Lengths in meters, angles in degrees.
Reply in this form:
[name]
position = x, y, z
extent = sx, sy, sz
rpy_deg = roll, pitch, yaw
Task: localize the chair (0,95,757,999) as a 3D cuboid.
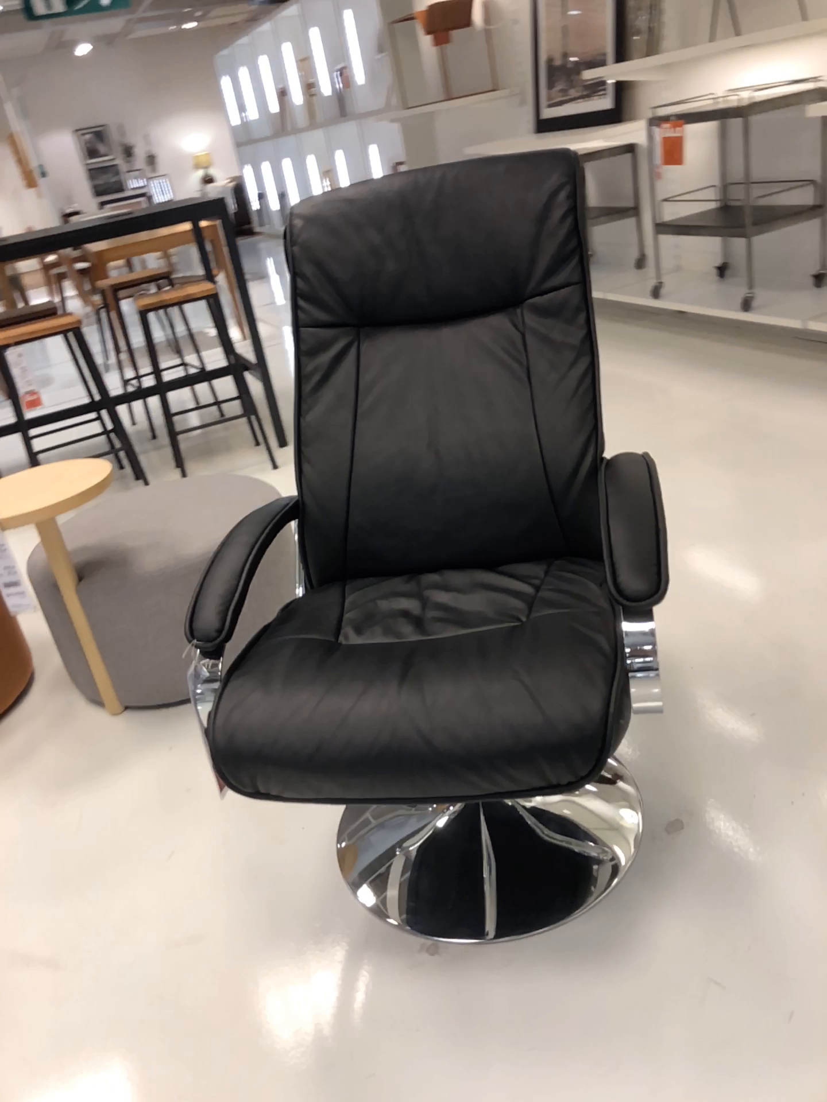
[chair]
position = 0.046, -0.021, 1.438
extent = 0.750, 1.131, 0.725
rpy_deg = -8, 25, 9
